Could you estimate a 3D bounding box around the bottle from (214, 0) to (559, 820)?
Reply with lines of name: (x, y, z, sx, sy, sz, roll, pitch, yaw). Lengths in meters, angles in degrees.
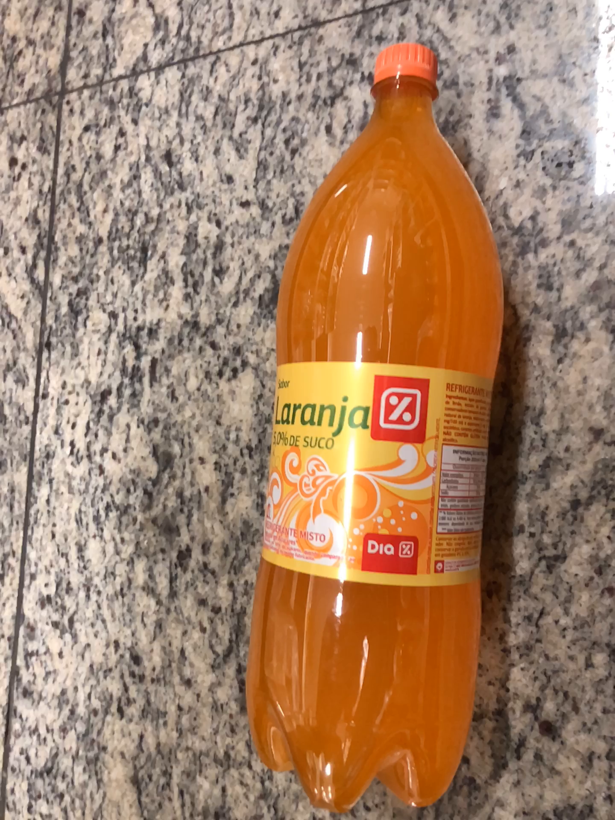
bottle: (0.041, -0.007, 0.316, 0.120, 0.070, 0.350, 2, 85, 28)
